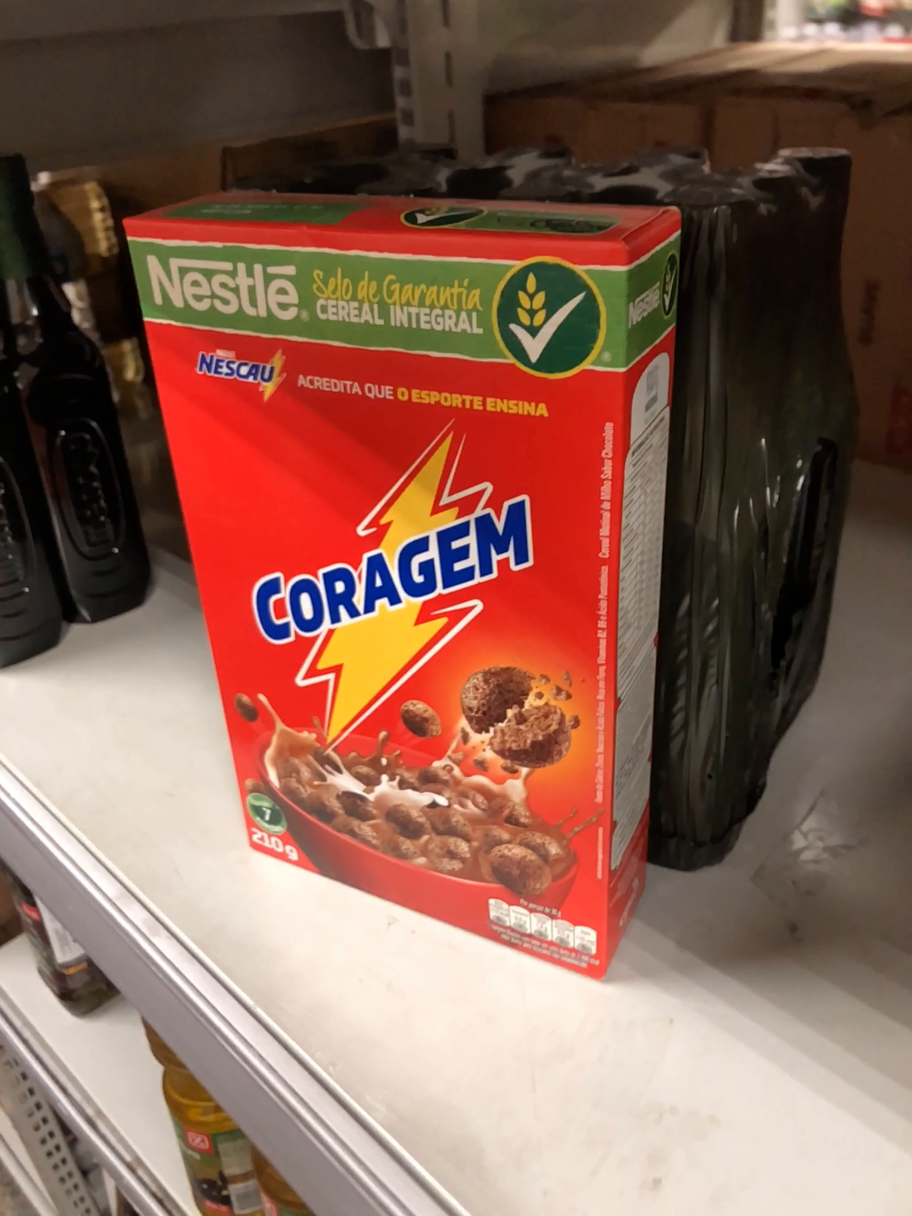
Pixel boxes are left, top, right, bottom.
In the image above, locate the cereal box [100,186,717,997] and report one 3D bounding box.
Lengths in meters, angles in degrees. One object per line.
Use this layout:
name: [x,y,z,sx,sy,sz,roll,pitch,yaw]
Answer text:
cereal box: [-0.011,-0.007,0.348,0.170,0.248,0.060,13,33,28]
